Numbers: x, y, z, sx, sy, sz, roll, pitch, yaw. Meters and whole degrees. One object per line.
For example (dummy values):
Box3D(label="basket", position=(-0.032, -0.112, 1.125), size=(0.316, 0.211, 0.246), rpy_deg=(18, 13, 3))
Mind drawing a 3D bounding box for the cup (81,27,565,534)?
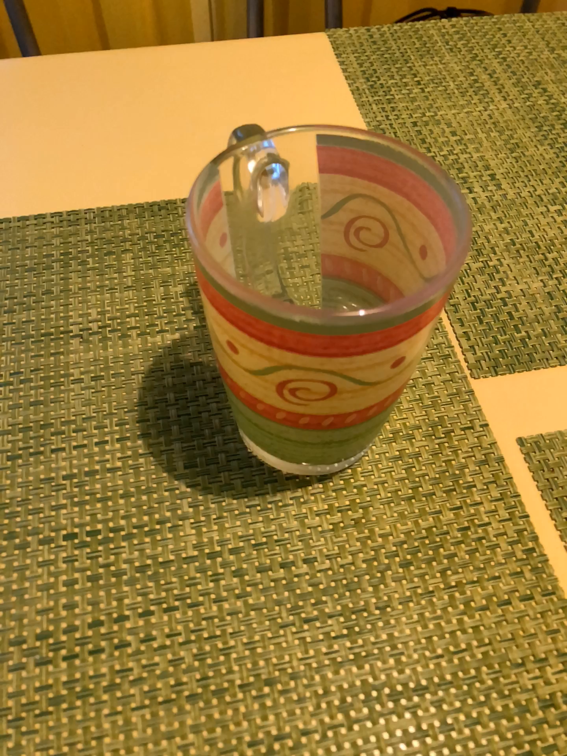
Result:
Box3D(label="cup", position=(0.002, -0.035, 0.209), size=(0.090, 0.089, 0.121), rpy_deg=(-20, 59, -14))
